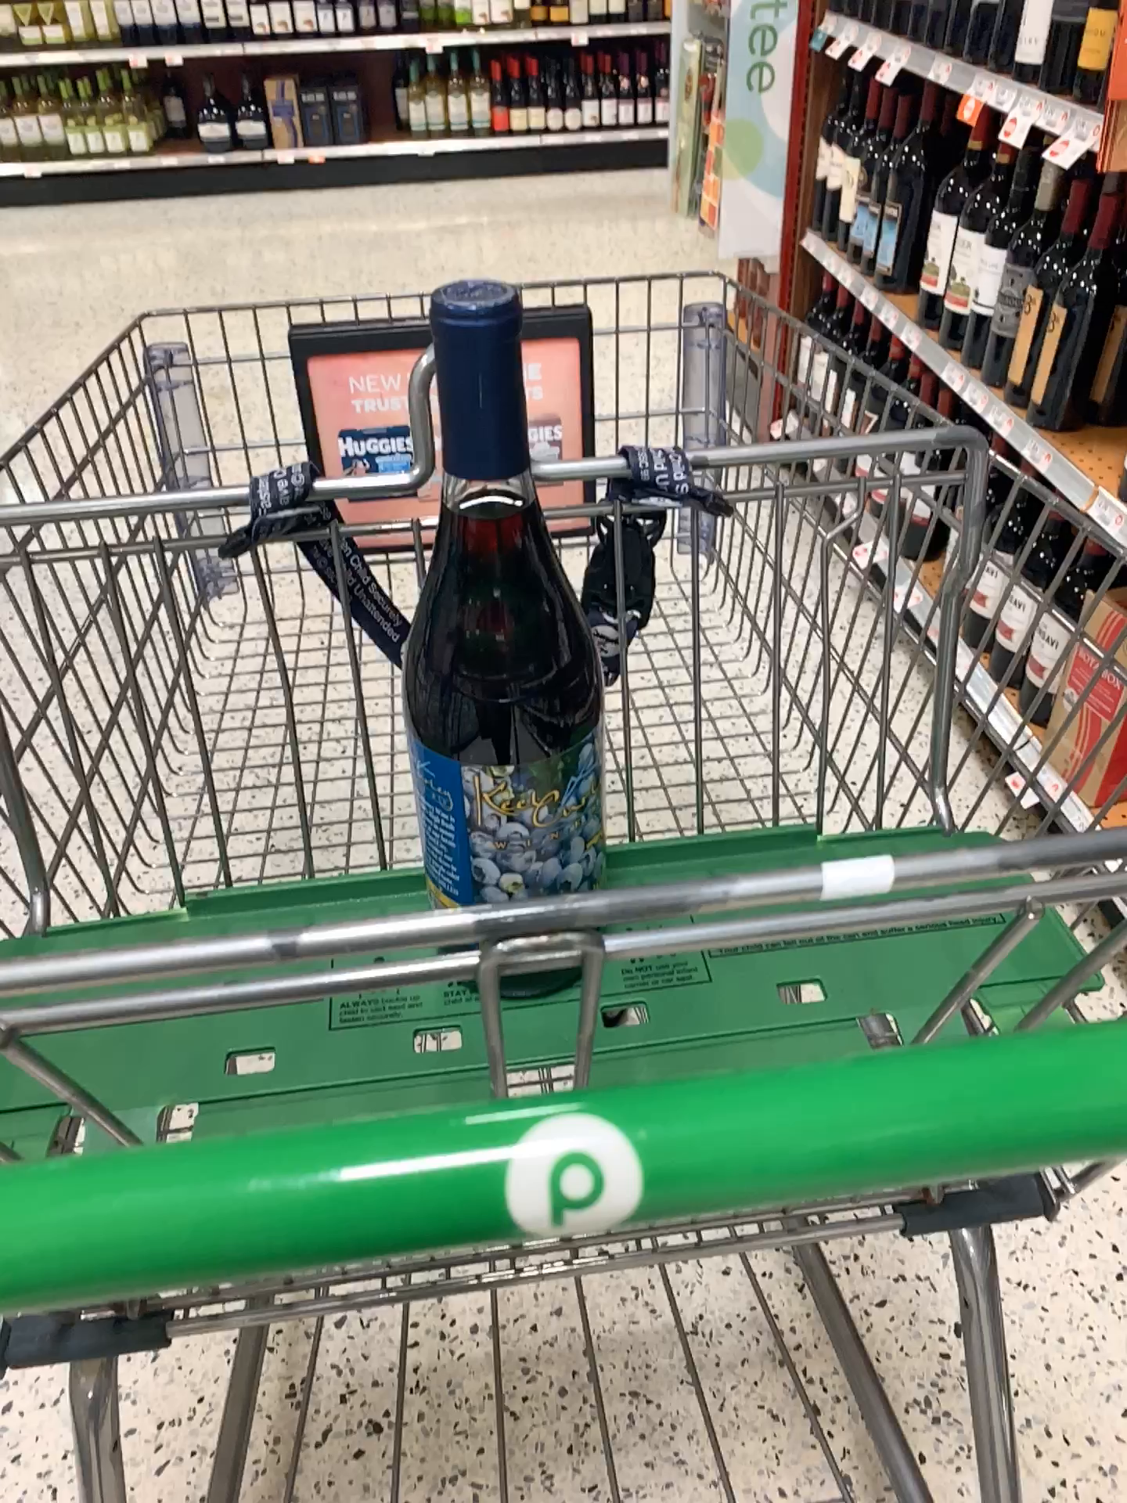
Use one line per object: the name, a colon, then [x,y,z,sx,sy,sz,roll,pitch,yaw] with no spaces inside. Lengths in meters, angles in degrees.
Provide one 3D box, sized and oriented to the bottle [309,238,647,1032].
bottle: [-0.023,-0.029,0.438,0.080,0.286,0.075,-2,37,1]
